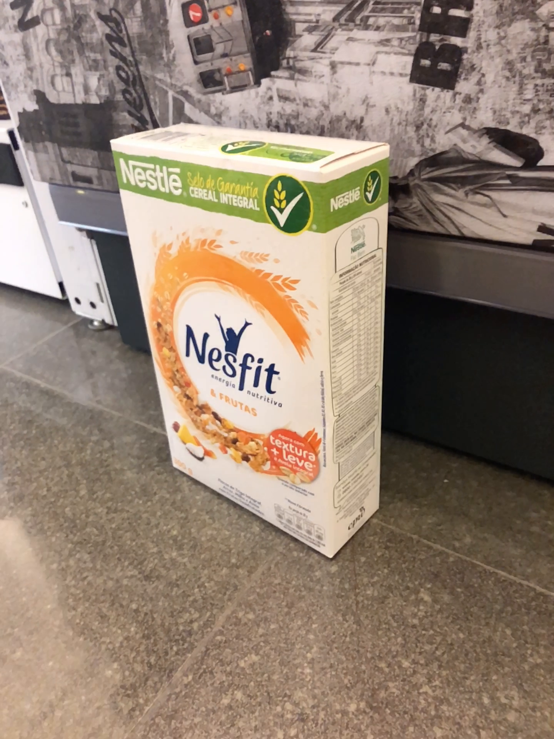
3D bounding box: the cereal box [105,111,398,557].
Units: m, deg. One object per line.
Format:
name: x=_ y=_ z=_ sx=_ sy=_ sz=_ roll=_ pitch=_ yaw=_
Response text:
cereal box: x=-0.009 y=-0.023 z=0.395 sx=0.150 sy=0.248 sz=0.070 roll=21 pitch=40 yaw=36
